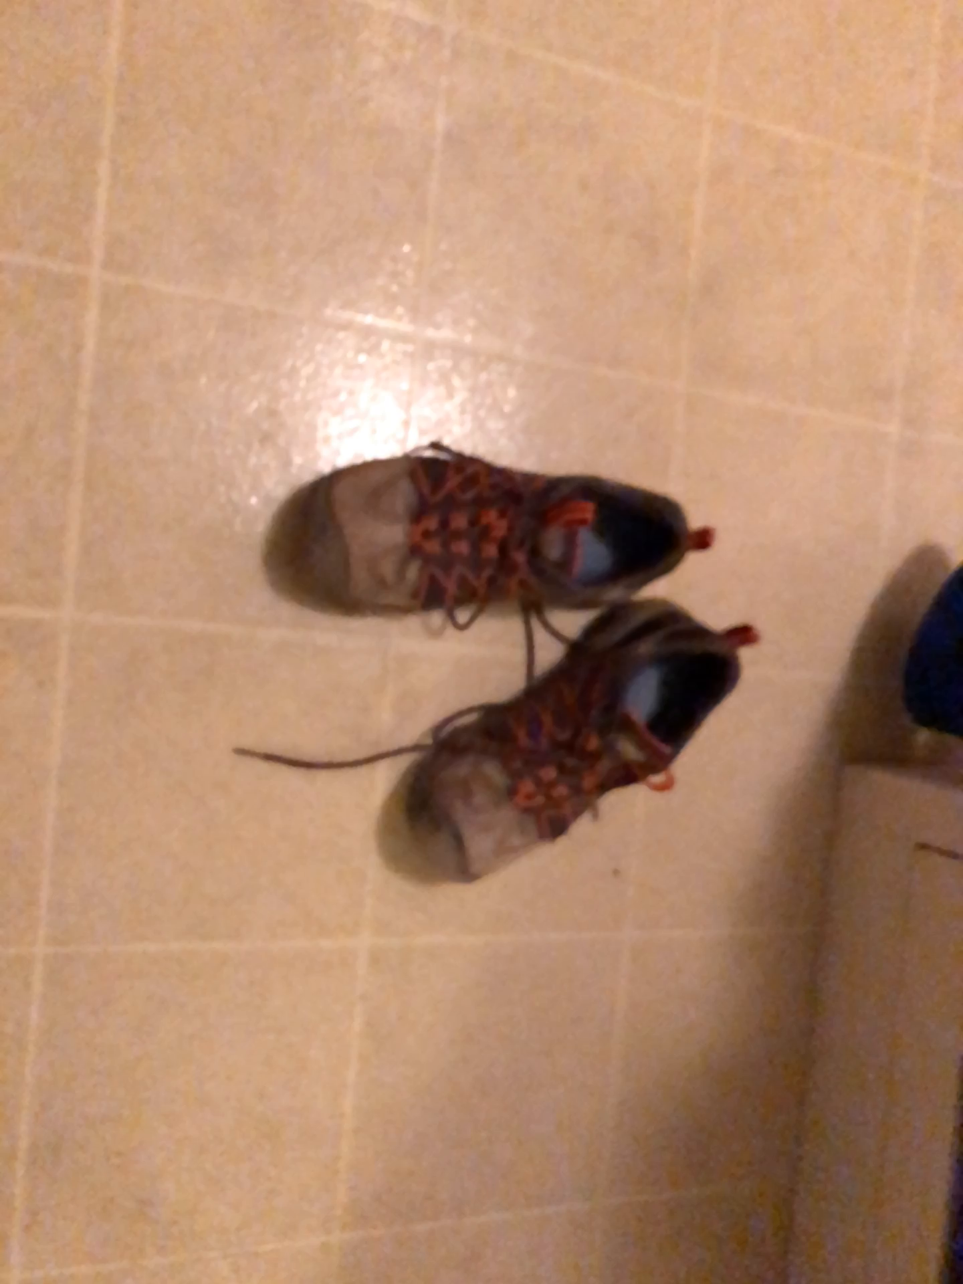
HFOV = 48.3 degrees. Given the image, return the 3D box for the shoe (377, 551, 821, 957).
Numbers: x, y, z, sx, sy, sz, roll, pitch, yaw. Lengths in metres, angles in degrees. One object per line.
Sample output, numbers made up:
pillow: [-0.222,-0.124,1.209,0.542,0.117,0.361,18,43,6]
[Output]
shoe: [0.086,0.069,0.791,0.282,0.122,0.127,-40,106,-15]

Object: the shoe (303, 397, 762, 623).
shoe: [0.035,-0.084,0.755,0.293,0.122,0.127,1,93,-22]
